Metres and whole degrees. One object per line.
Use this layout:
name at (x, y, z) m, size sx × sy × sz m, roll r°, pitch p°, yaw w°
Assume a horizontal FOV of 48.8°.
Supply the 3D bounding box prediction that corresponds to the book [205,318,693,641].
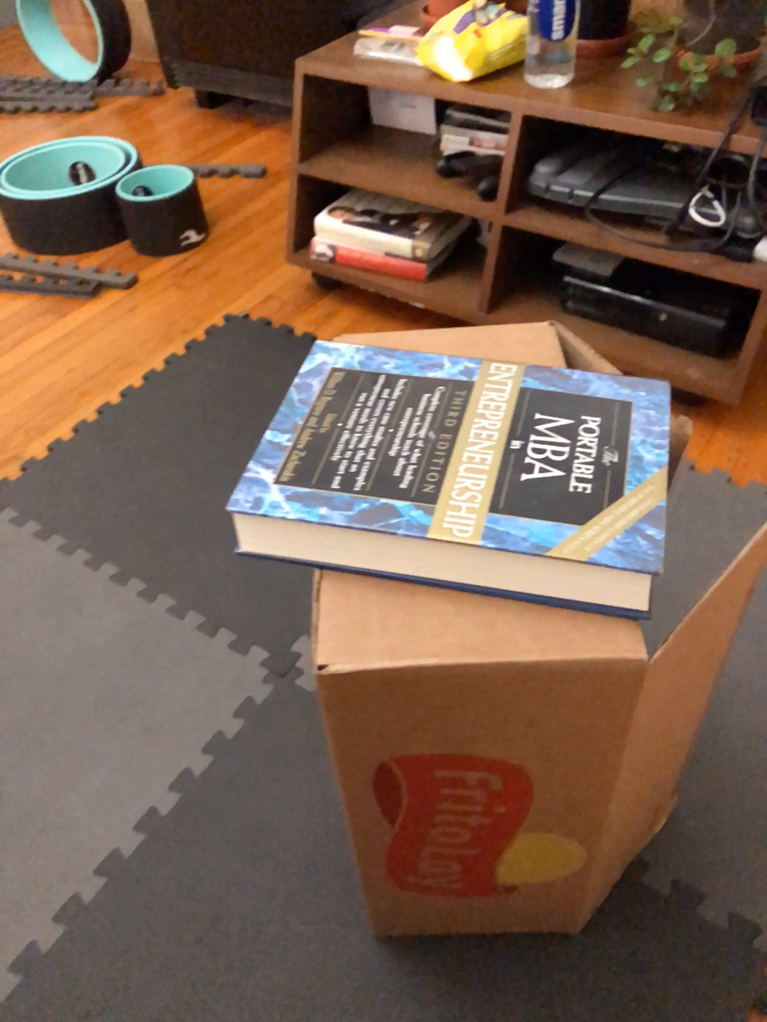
book at (0.055, -0.037, 0.553) m, size 0.270 × 0.060 × 0.211 m, roll 7°, pitch 45°, yaw 14°
